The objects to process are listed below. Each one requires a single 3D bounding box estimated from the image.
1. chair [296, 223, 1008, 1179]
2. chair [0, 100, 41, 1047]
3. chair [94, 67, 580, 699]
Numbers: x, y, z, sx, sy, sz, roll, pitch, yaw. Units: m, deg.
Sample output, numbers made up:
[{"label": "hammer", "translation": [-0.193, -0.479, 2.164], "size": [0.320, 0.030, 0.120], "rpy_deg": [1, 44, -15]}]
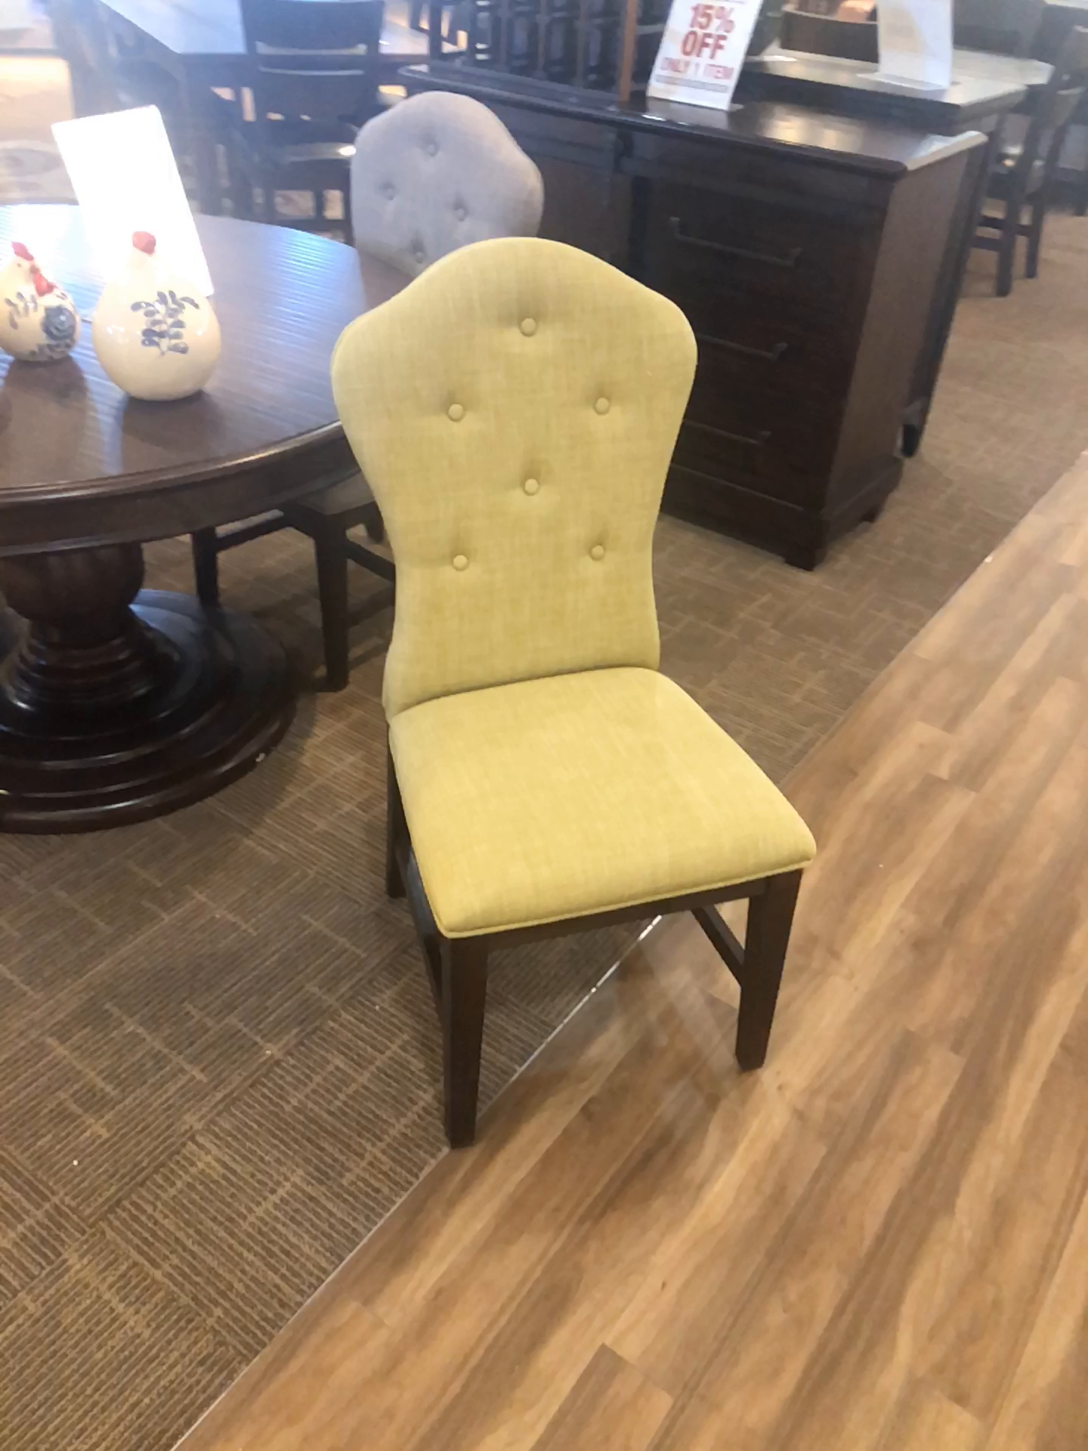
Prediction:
[{"label": "chair", "translation": [0.041, -0.041, 1.531], "size": [0.539, 0.979, 0.618], "rpy_deg": [-10, 39, -18]}, {"label": "chair", "translation": [-1.146, -0.208, 1.541], "size": [0.519, 0.959, 0.577], "rpy_deg": [31, 44, 32]}, {"label": "chair", "translation": [-0.363, -0.675, 2.298], "size": [0.509, 0.949, 0.637], "rpy_deg": [29, 43, 30]}]
